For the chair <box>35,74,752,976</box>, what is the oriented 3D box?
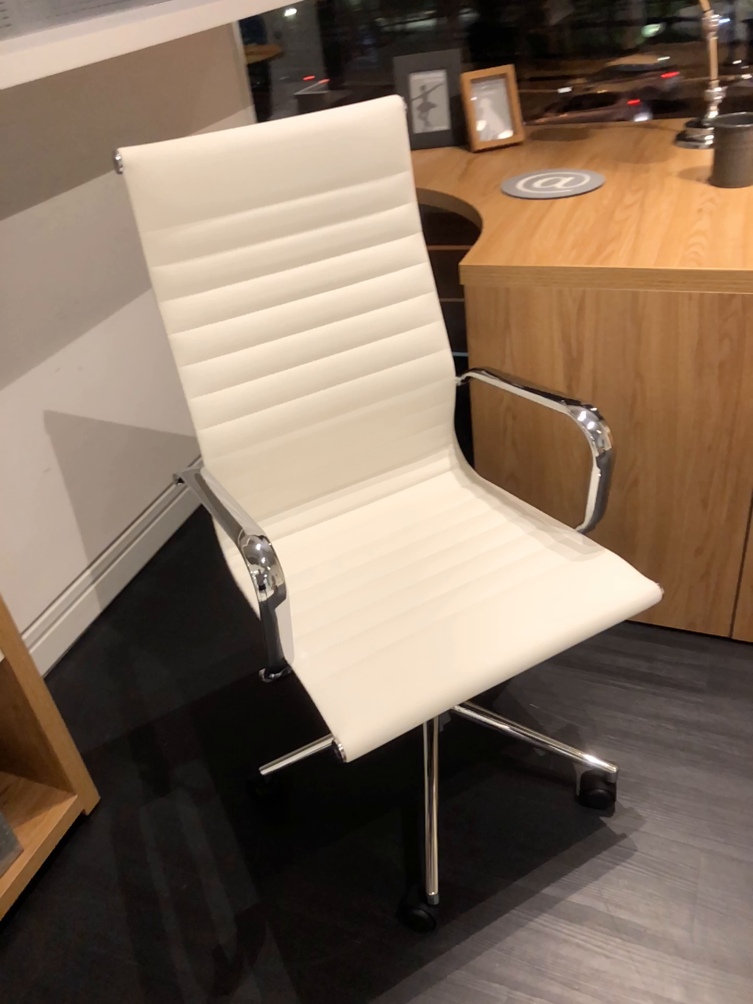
[{"bbox_3d":[0.035,0.001,1.235,0.631,1.012,0.634,-22,37,-19],"label":"chair"}]
